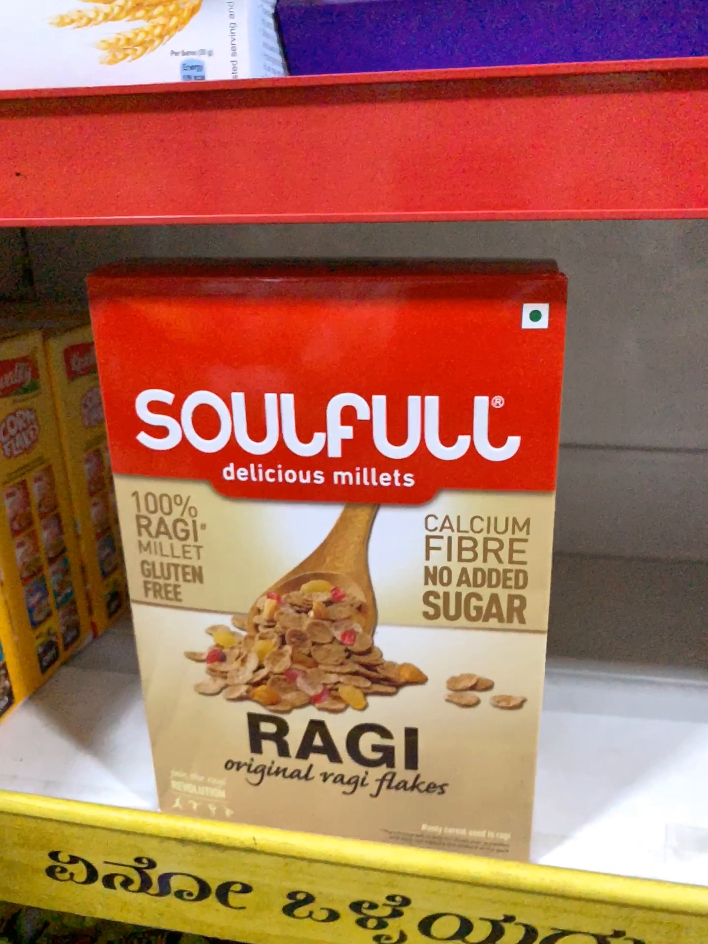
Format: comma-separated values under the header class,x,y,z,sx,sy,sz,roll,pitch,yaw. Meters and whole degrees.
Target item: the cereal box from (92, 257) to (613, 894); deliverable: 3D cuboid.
class,x,y,z,sx,sy,sz,roll,pitch,yaw
cereal box,0.002,0.043,0.307,0.170,0.248,0.060,2,19,9
